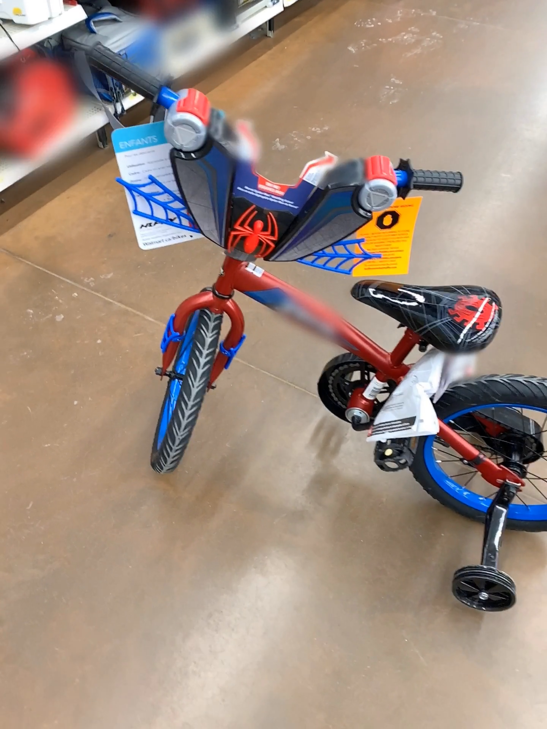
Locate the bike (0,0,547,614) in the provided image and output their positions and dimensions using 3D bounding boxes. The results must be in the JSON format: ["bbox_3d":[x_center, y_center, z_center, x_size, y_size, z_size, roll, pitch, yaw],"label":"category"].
[{"bbox_3d":[0.110,-0.032,0.767,0.565,0.709,0.477,7,50,7],"label":"bike"}]
